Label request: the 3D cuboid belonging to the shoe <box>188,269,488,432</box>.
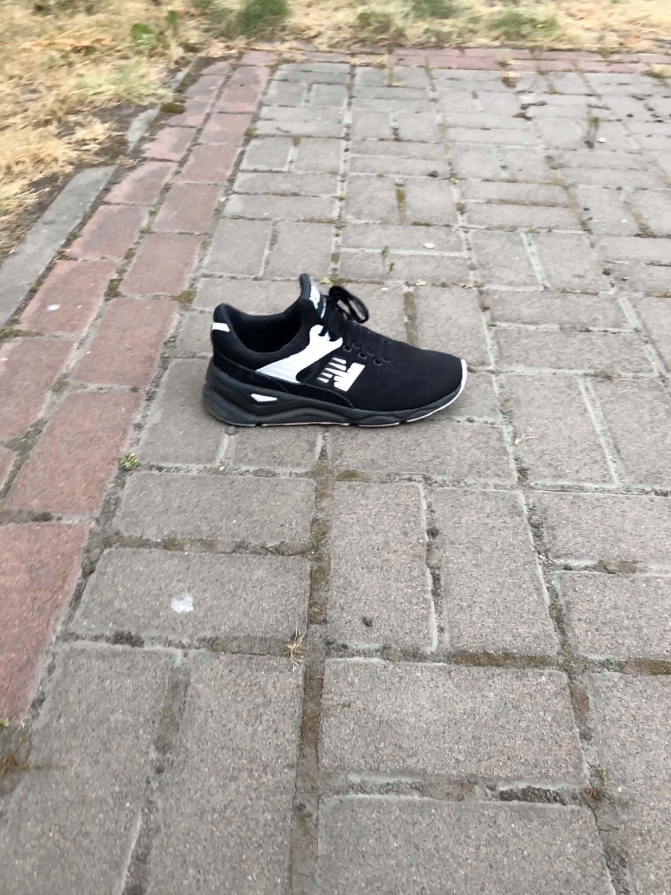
[{"bbox_3d":[0.000,-0.100,0.766,0.280,0.129,0.101,1,40,-3],"label":"shoe"}]
